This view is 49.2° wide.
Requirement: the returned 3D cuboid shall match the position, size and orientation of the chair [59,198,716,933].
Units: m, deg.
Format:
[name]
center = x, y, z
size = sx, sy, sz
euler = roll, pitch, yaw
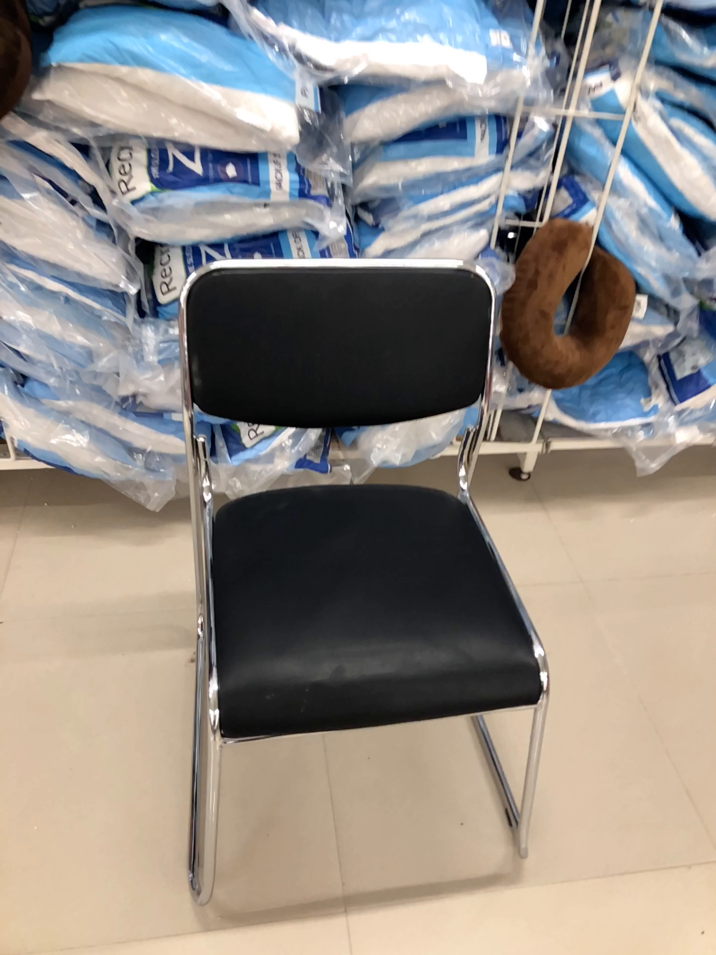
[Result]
[chair]
center = -0.013, 0.122, 1.079
size = 0.571, 0.795, 0.563
euler = -2, 39, -10
